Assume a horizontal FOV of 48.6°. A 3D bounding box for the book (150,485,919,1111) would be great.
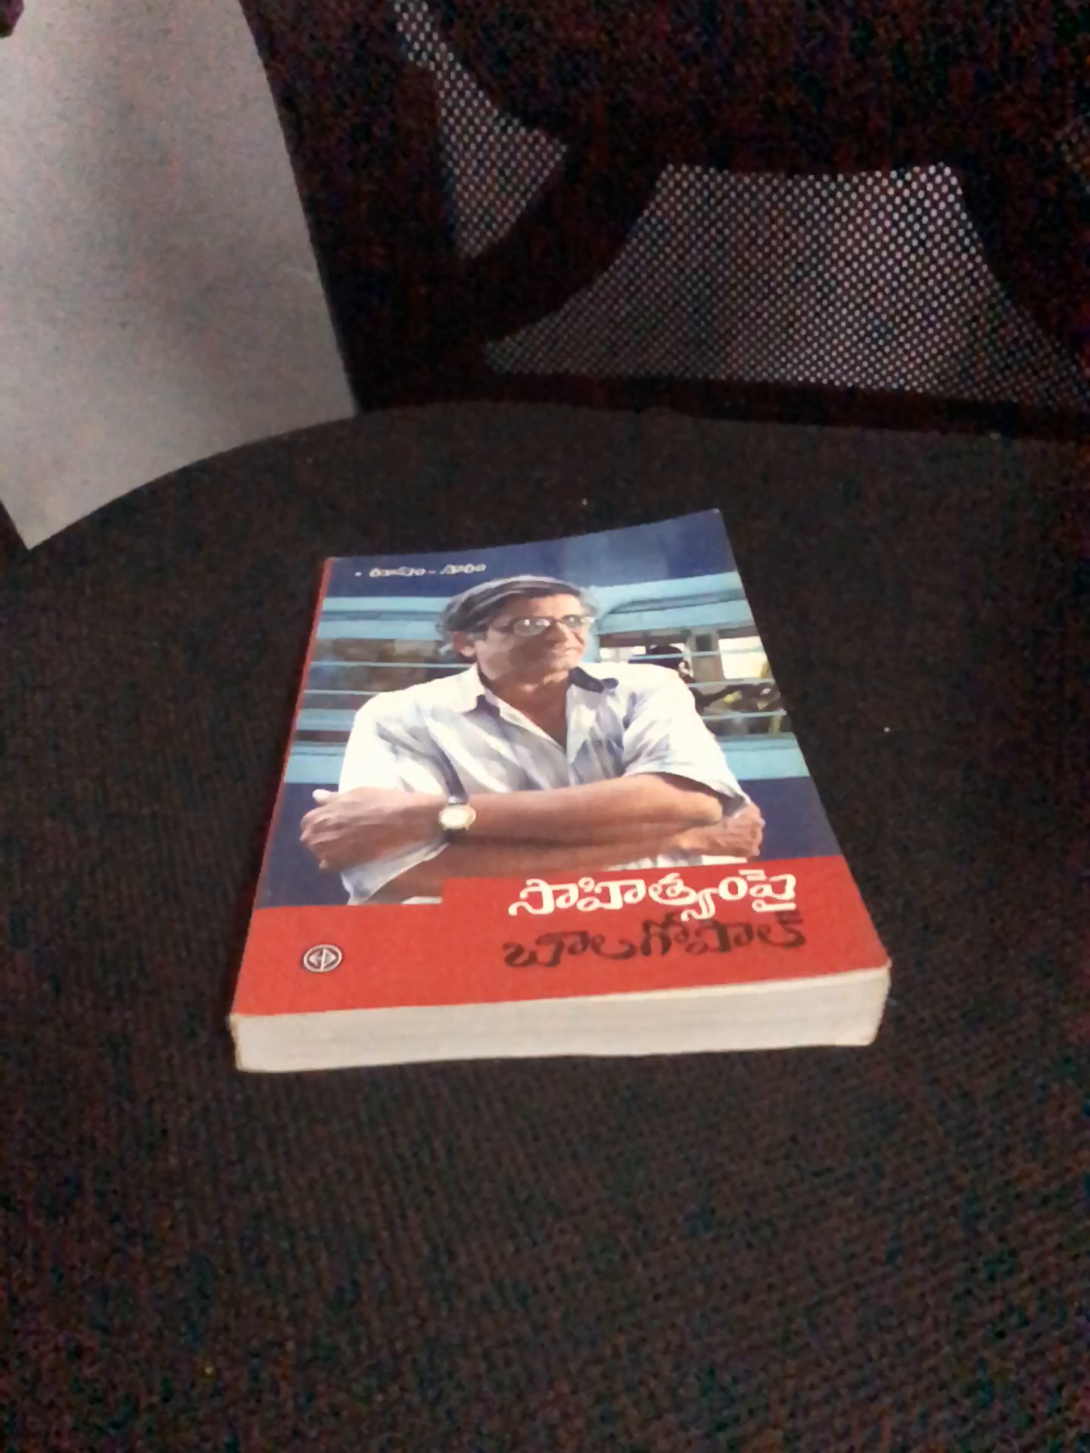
[{"bbox_3d":[-0.007,-0.002,0.338,0.152,0.030,0.226,-4,36,-1],"label":"book"}]
